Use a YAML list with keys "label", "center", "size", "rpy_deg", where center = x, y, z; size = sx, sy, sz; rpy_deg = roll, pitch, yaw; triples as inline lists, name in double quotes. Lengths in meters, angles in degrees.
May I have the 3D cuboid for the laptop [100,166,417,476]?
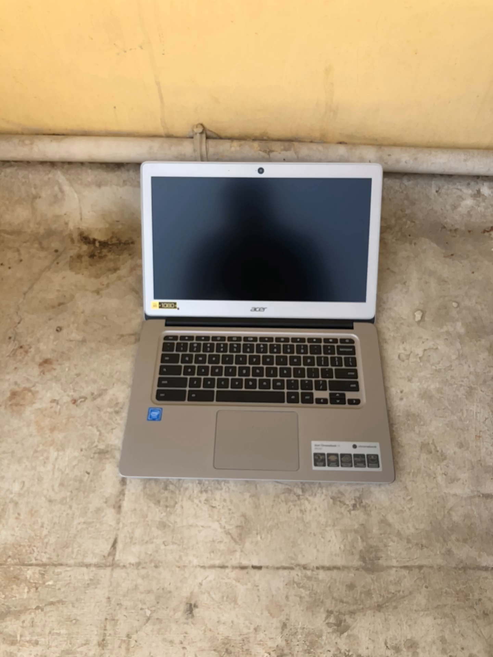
- label: "laptop"
  center: [0.015, -0.024, 0.700]
  size: [0.315, 0.136, 0.380]
  rpy_deg: [1, 58, 2]
